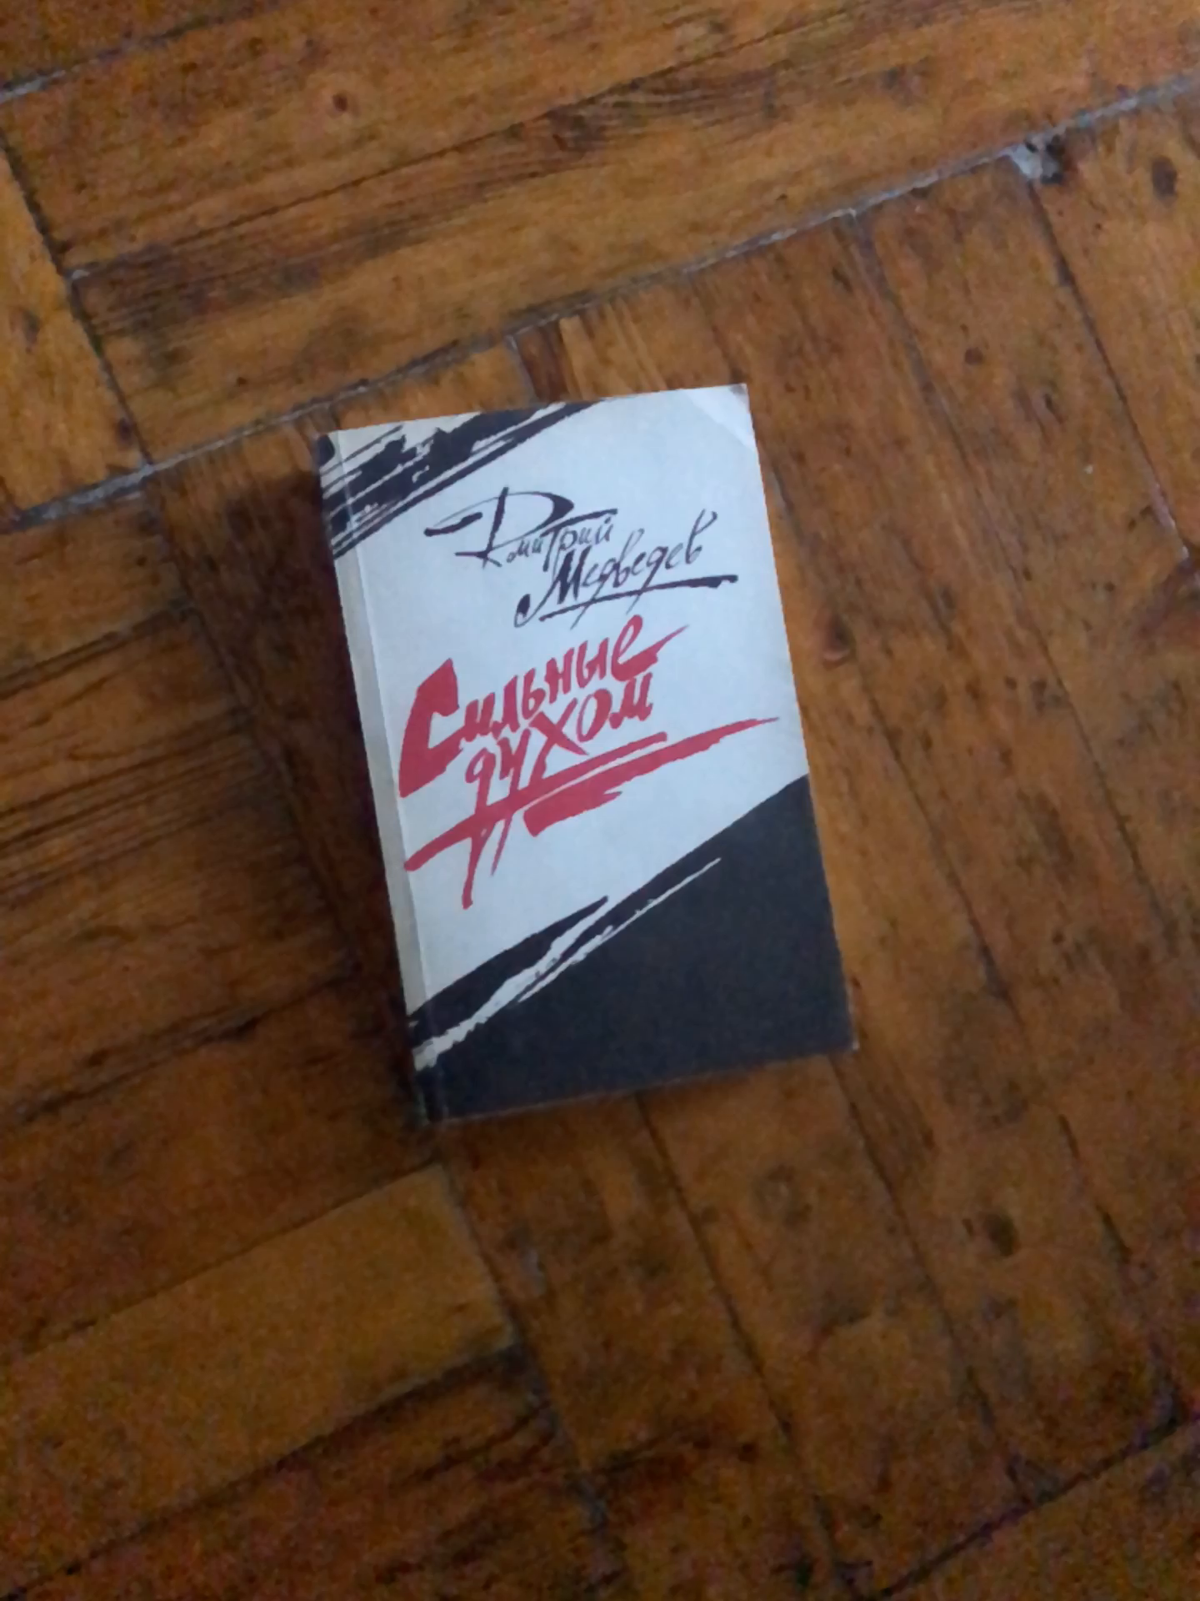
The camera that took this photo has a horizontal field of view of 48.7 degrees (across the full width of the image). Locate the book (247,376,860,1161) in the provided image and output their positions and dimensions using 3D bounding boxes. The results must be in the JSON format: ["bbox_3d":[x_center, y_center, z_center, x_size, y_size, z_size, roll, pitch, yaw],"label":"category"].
[{"bbox_3d":[-0.016,-0.012,0.421,0.140,0.050,0.210,-13,88,-8],"label":"book"}]
